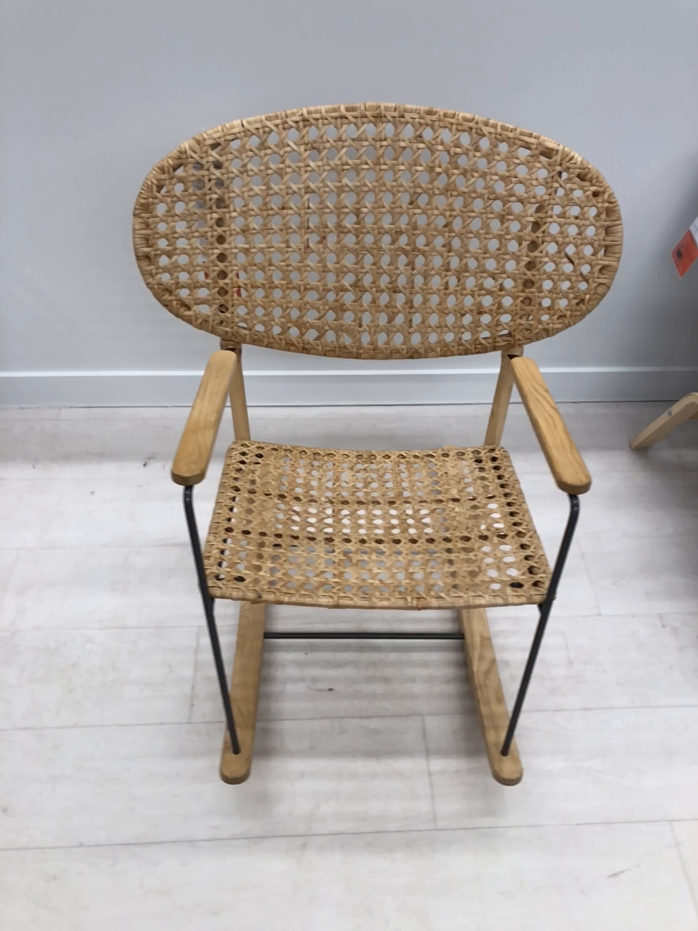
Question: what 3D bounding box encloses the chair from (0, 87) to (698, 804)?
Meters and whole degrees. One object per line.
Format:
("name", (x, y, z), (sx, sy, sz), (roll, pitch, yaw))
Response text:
("chair", (0.022, -0.033, 1.265), (0.830, 0.787, 0.853), (0, 48, -3))
